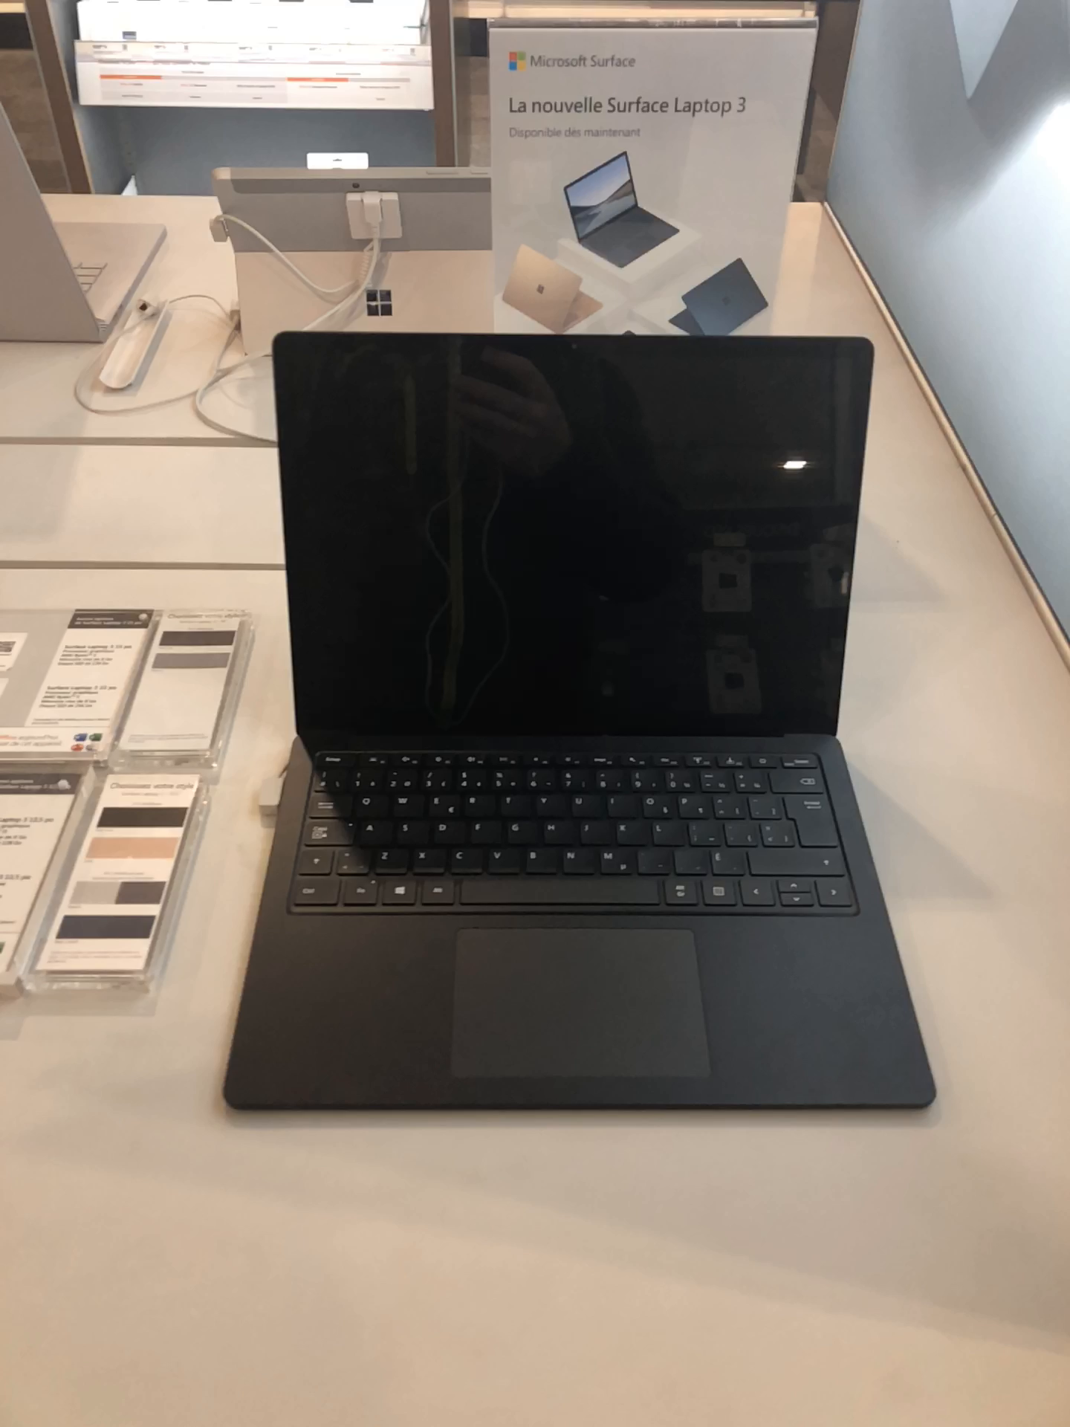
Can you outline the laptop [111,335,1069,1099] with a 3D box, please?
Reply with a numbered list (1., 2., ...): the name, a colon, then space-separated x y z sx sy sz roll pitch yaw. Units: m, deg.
1. laptop: 0.019 -0.014 0.554 0.308 0.197 0.315 0 42 -1
